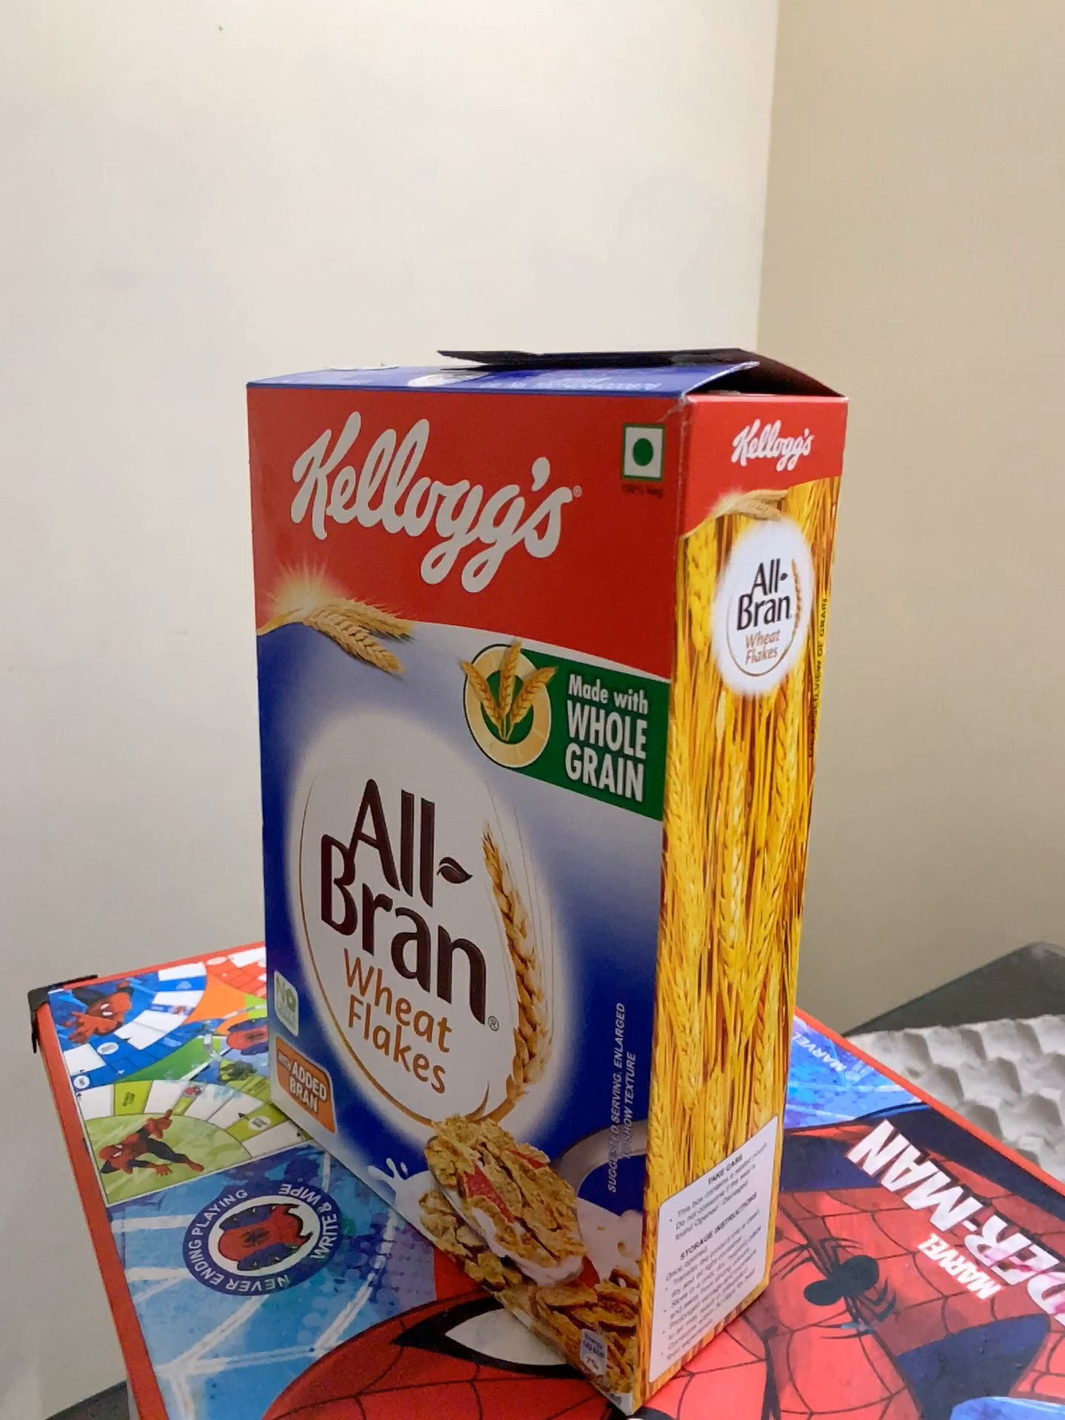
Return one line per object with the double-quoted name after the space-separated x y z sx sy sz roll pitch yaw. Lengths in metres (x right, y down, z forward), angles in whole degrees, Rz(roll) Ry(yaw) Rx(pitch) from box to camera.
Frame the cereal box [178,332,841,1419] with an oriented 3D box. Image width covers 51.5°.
-0.022 0.028 0.316 0.060 0.249 0.191 -12 20 -41 "cereal box"
